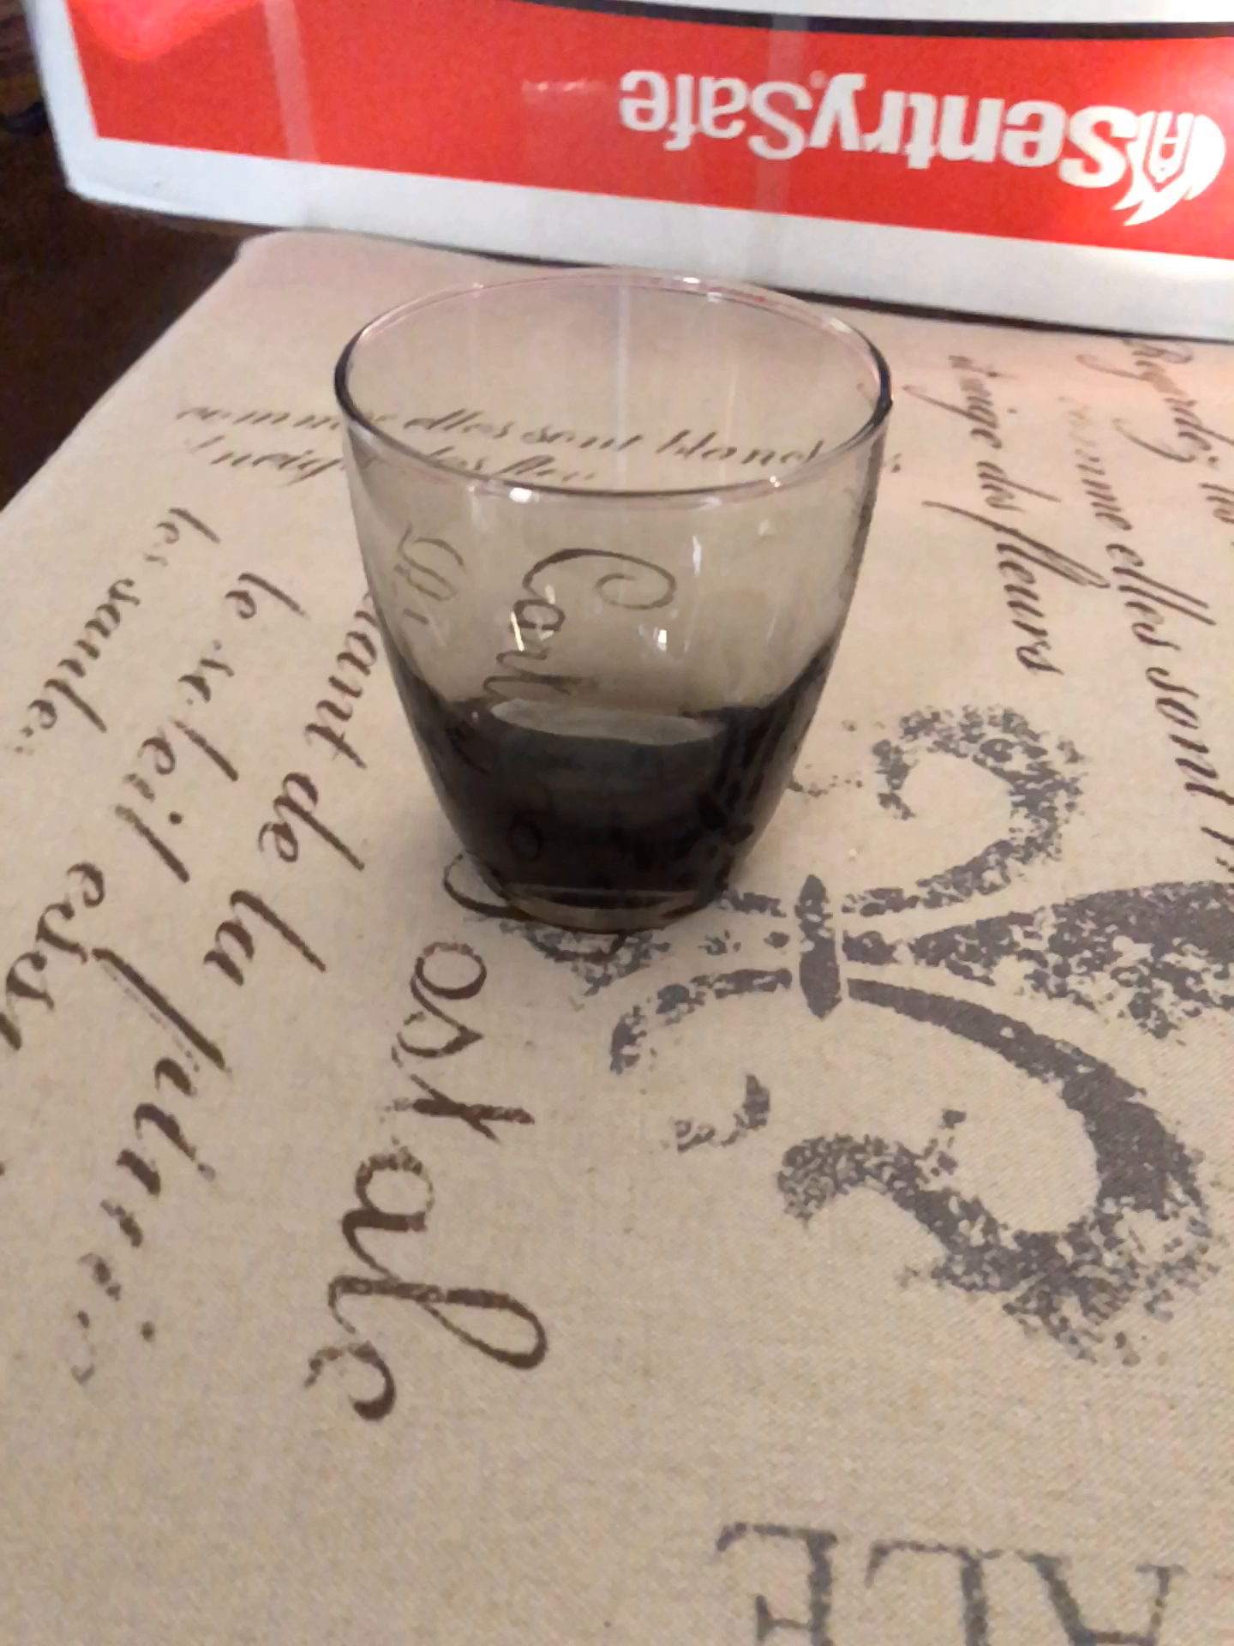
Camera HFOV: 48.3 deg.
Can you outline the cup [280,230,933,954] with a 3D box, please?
[{"bbox_3d":[-0.001,-0.043,0.249,0.088,0.092,0.088,1,41,-1],"label":"cup"}]
